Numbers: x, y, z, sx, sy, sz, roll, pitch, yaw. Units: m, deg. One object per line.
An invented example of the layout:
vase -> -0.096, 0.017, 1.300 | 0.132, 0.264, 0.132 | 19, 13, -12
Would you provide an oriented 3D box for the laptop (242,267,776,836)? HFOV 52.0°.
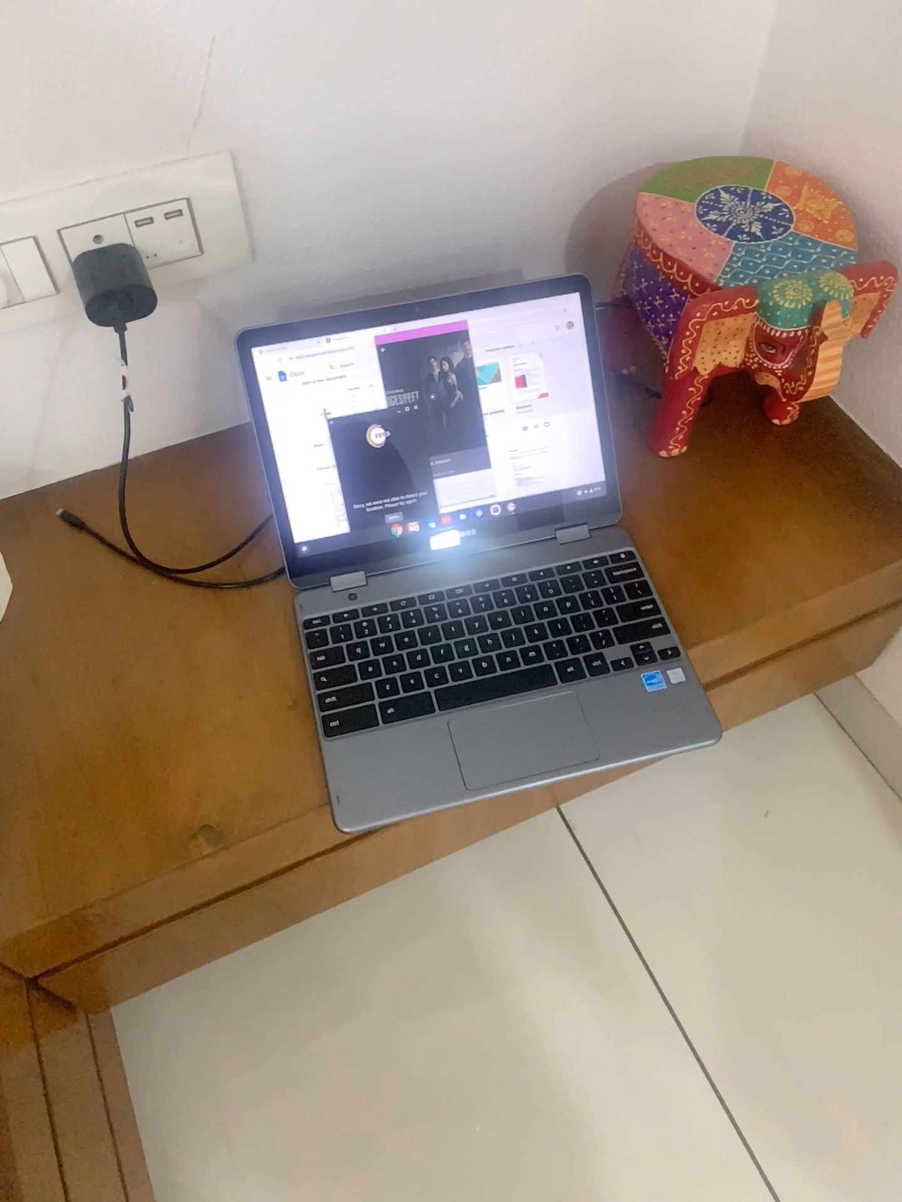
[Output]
laptop -> 0.020, -0.057, 0.766 | 0.314, 0.164, 0.384 | -12, 58, -7
